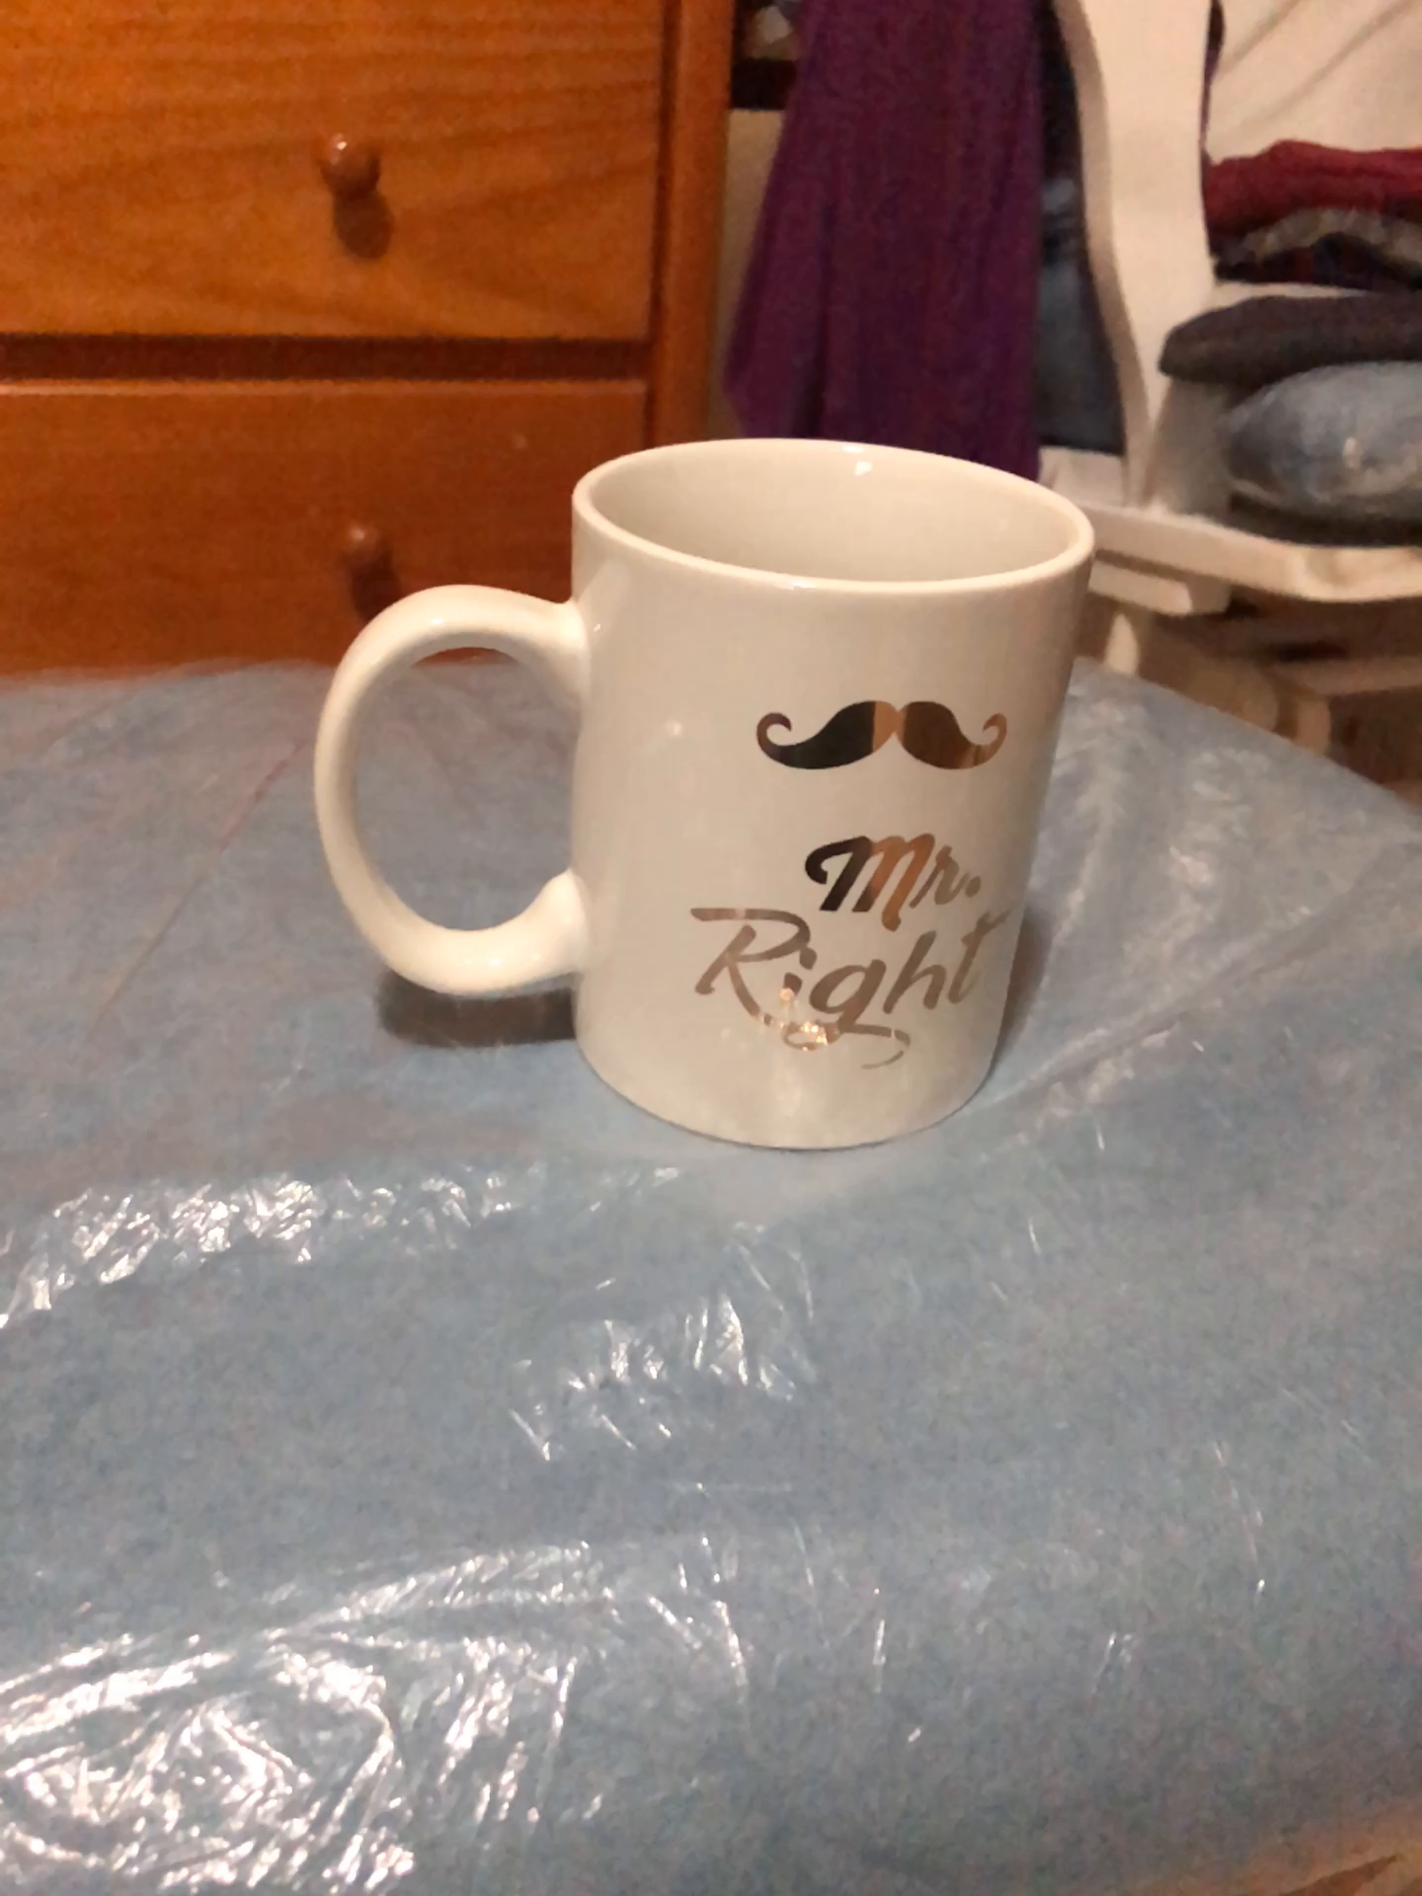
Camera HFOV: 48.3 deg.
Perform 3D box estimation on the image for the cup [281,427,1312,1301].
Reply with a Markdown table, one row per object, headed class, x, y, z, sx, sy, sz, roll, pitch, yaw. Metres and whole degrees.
| class | x | y | z | sx | sy | sz | roll | pitch | yaw |
| --- | --- | --- | --- | --- | --- | --- | --- | --- | --- |
| cup | 0.002 | -0.023 | 0.275 | 0.140 | 0.110 | 0.100 | -4 | 30 | -13 |
